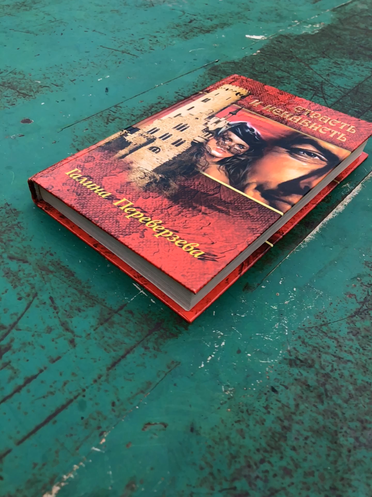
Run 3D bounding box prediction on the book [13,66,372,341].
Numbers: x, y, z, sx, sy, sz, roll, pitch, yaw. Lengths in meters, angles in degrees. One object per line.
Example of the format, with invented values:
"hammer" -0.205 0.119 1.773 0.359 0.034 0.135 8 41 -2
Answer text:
"book" 0.021 -0.056 0.279 0.144 0.030 0.210 34 53 26
